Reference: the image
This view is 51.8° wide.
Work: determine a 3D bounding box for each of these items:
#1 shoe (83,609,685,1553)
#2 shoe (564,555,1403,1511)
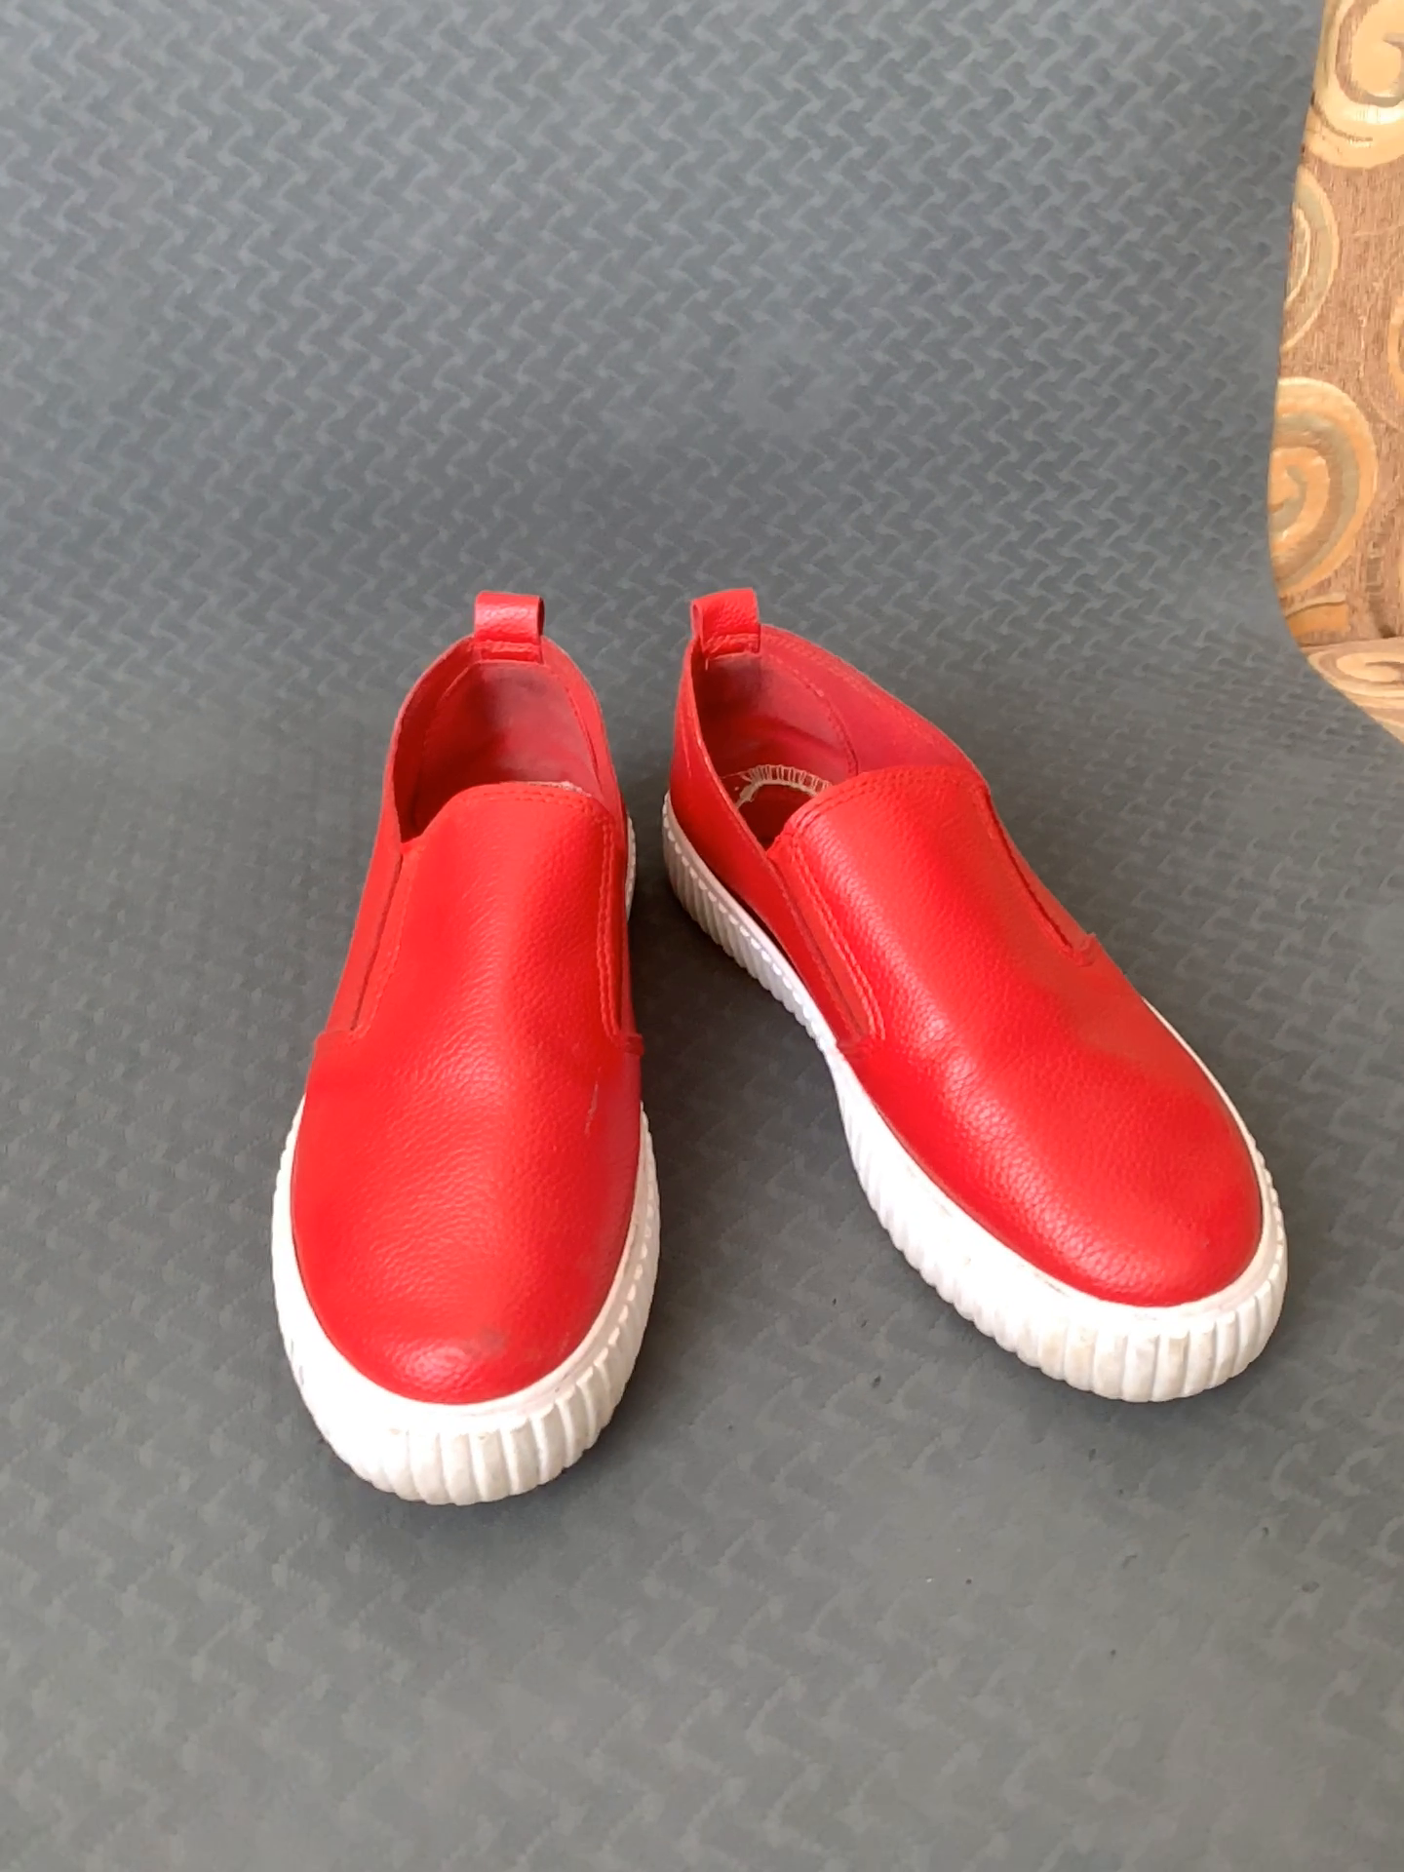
[{"bbox_3d":[-0.054,0.014,0.351,0.095,0.070,0.241,1,43,0],"label":"shoe"},{"bbox_3d":[0.058,0.001,0.358,0.095,0.070,0.241,-18,46,-19],"label":"shoe"}]
